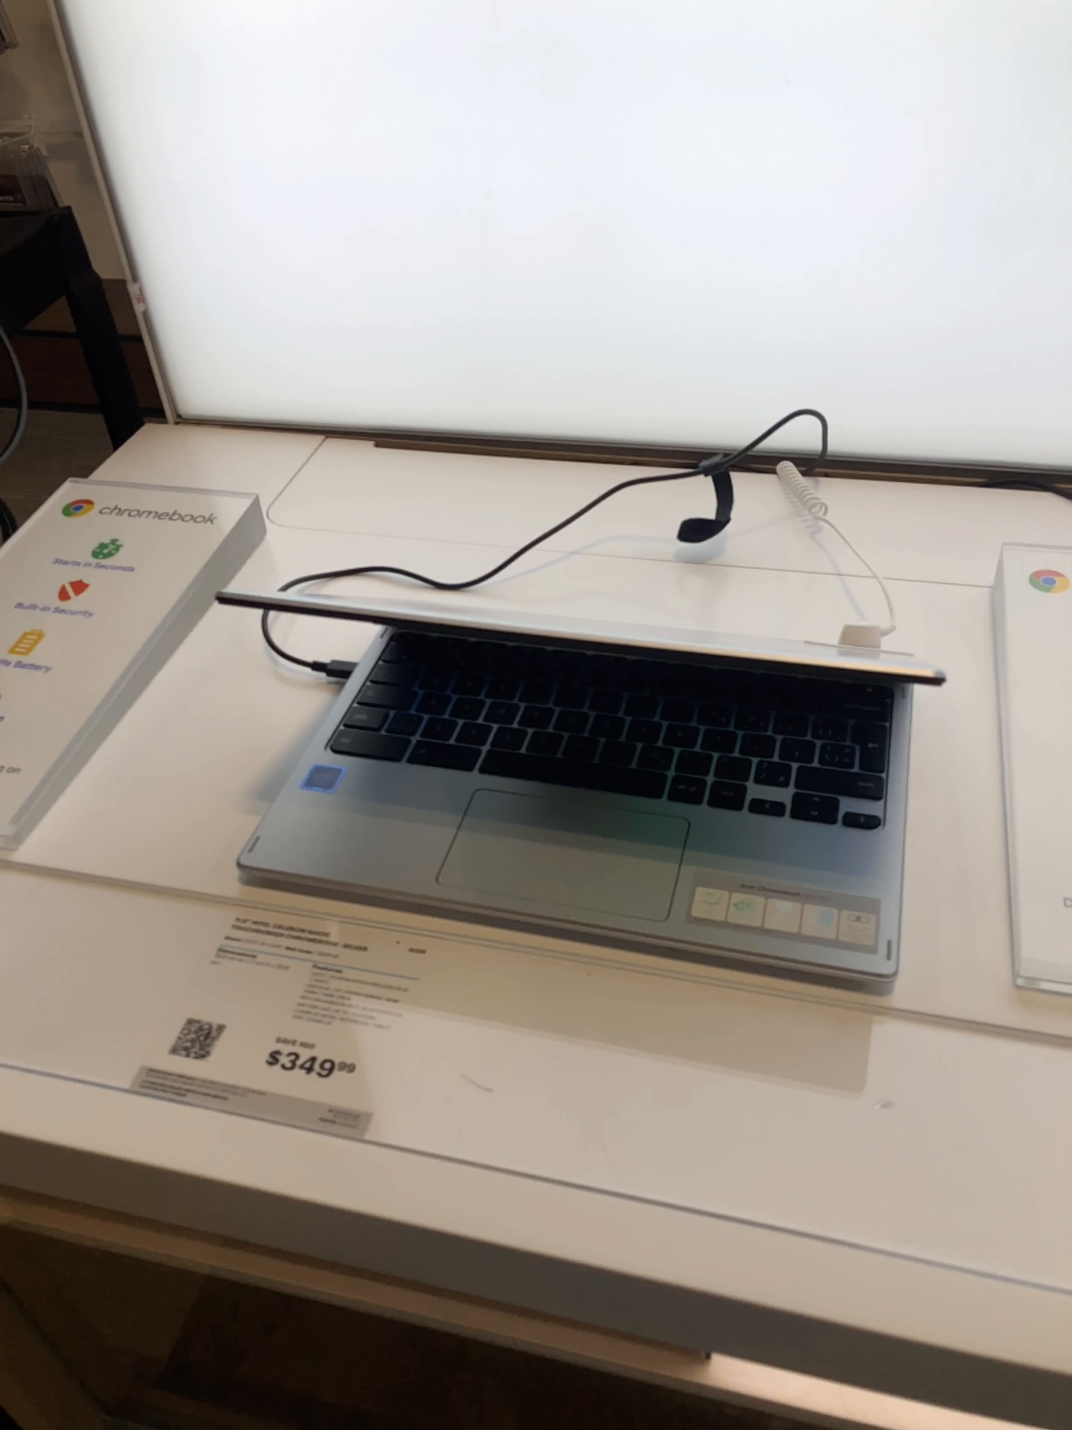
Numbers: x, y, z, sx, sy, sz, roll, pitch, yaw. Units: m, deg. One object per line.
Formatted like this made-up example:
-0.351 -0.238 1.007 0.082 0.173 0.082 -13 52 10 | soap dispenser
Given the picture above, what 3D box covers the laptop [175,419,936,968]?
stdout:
0.024 -0.025 0.529 0.280 0.123 0.192 7 41 13 | laptop
